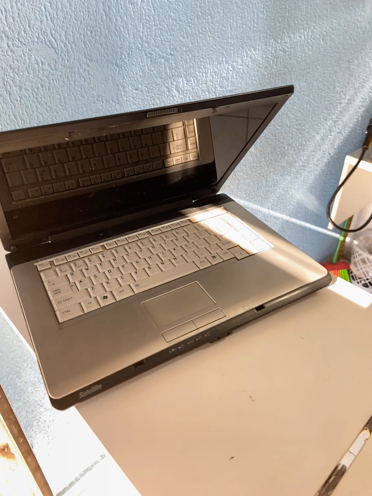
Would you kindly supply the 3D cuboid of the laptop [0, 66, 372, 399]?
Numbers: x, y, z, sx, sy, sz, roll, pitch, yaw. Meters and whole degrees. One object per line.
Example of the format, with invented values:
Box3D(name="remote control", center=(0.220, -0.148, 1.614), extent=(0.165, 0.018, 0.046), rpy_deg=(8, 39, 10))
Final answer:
Box3D(name="laptop", center=(-0.025, -0.060, 0.443), extent=(0.352, 0.202, 0.247), rpy_deg=(-18, 40, -24))
